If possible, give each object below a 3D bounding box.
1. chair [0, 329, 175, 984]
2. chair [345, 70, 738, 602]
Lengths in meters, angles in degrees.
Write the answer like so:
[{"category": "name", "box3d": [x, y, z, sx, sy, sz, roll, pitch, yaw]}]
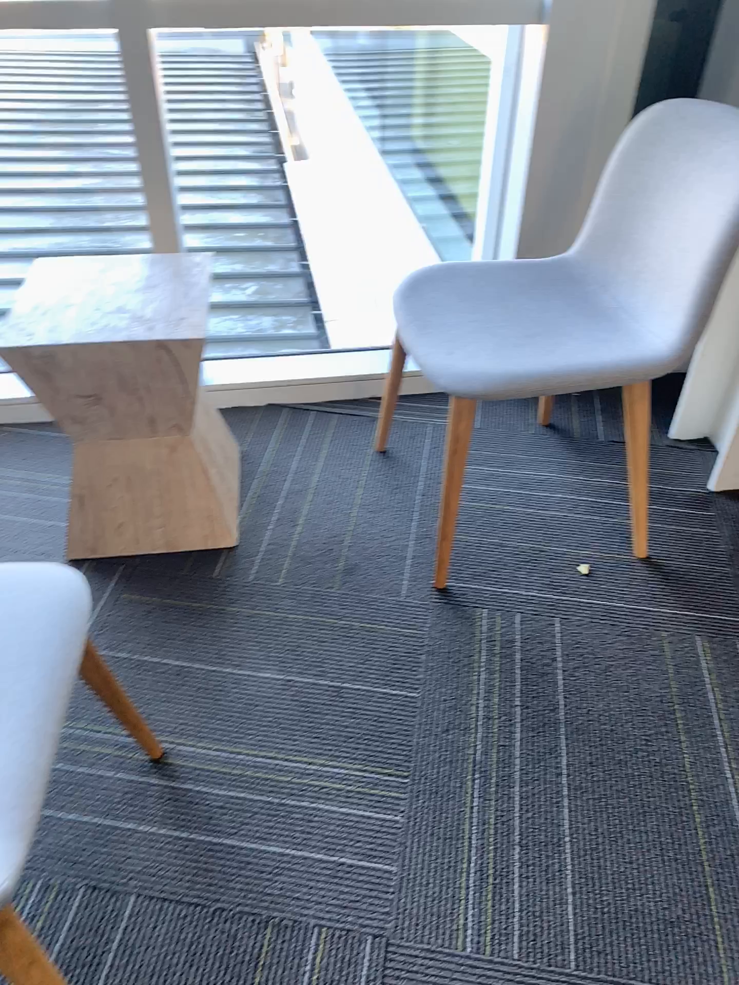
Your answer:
[{"category": "chair", "box3d": [-0.523, 0.277, 0.717, 0.540, 0.676, 0.473, -5, 40, -7]}, {"category": "chair", "box3d": [0.315, -0.325, 1.446, 0.600, 0.726, 0.654, -8, 40, -11]}]
